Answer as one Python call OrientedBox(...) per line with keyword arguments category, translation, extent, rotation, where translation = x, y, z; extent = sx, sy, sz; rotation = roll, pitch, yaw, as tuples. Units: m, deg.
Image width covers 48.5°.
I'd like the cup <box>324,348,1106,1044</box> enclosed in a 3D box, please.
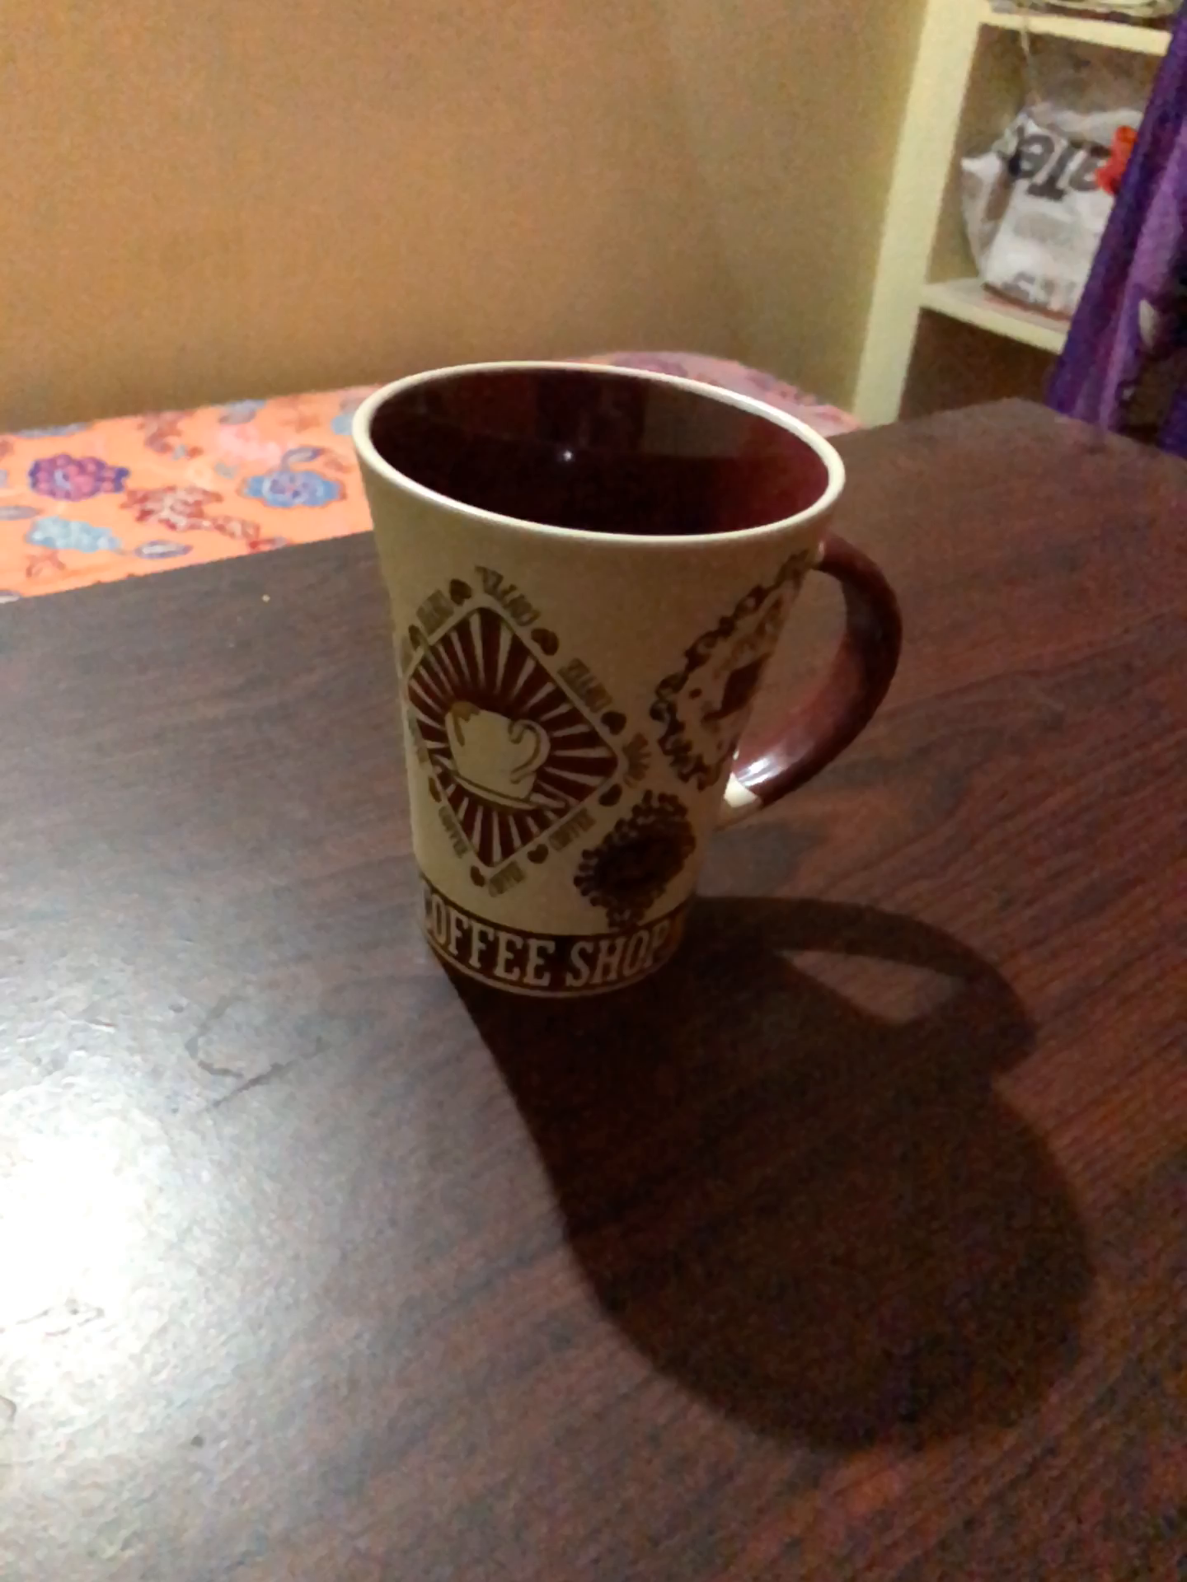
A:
OrientedBox(category="cup", translation=(0.013, -0.028, 0.278), extent=(0.120, 0.099, 0.100), rotation=(-7, 35, -19))
